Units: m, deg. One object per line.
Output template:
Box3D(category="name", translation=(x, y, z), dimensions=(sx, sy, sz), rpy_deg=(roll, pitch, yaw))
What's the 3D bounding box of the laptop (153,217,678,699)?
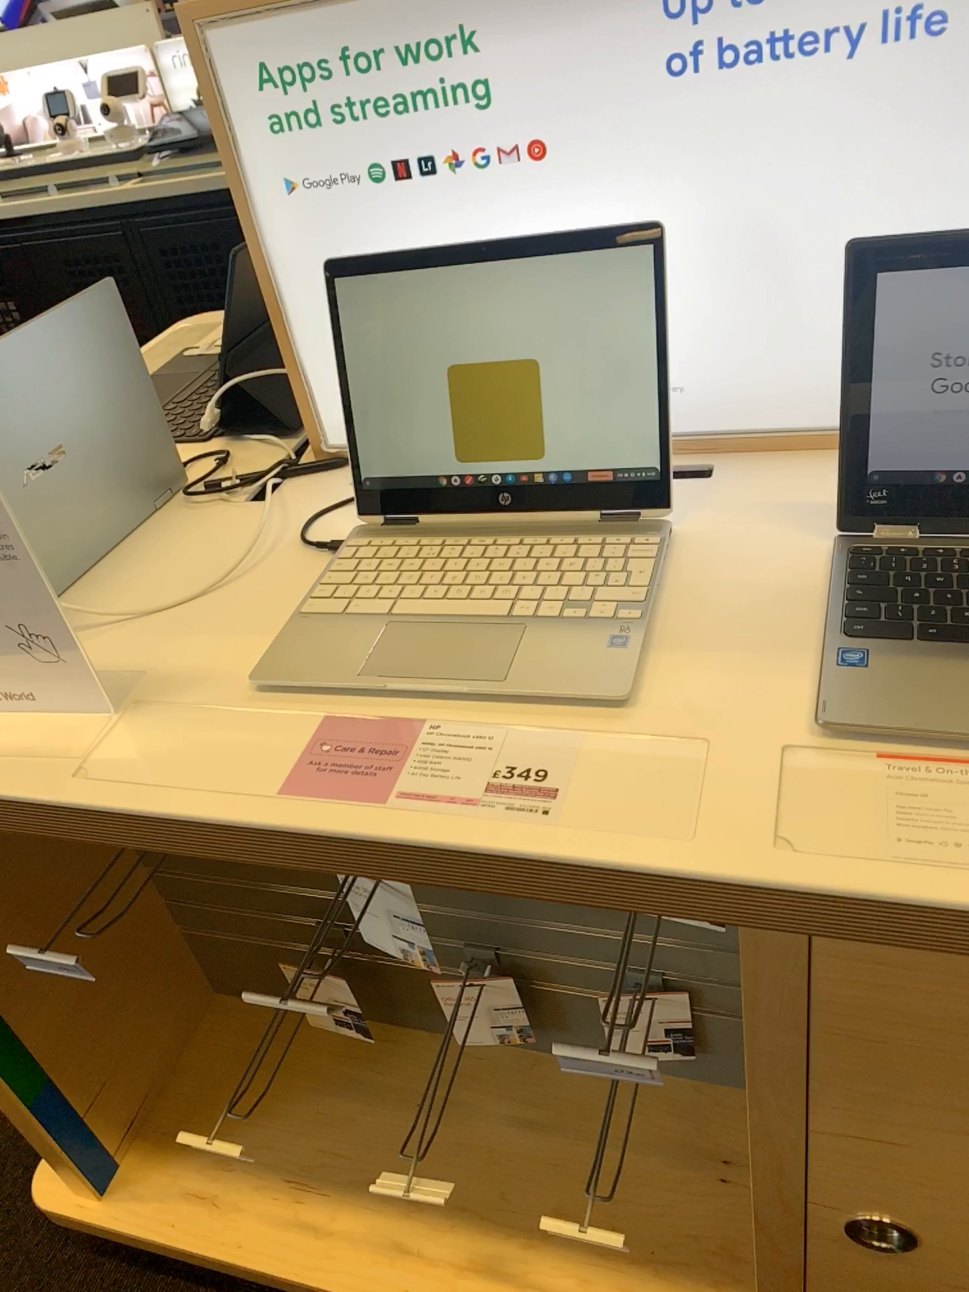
Box3D(category="laptop", translation=(-0.019, -0.135, 0.684), dimensions=(0.258, 0.190, 0.271), rpy_deg=(1, 39, 19))
